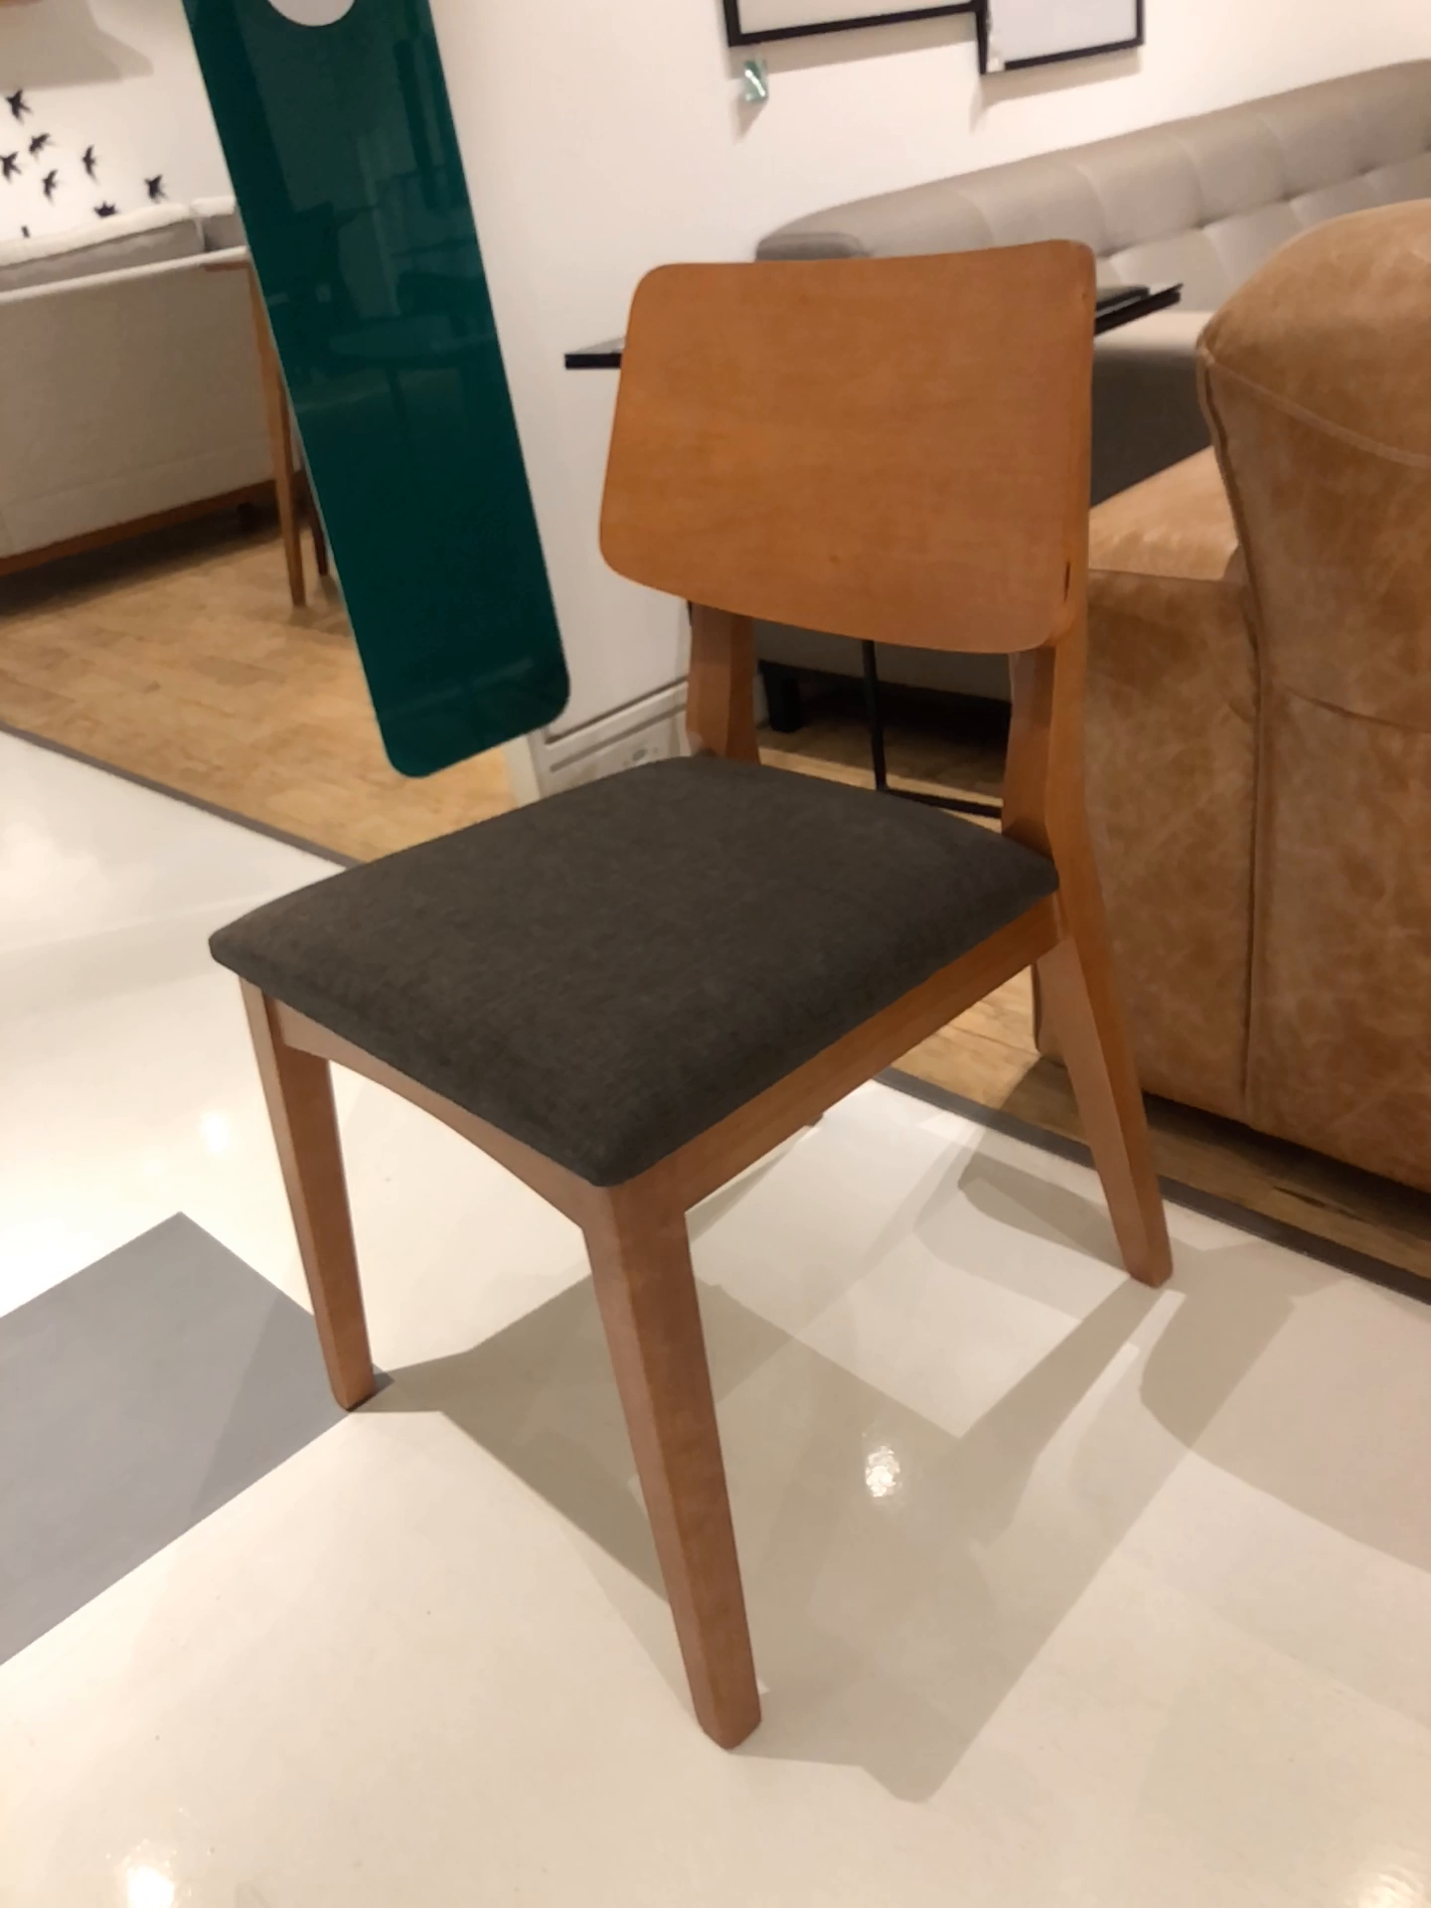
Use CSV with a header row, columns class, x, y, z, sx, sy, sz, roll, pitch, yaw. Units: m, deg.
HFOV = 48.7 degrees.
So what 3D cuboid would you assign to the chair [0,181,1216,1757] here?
class,x,y,z,sx,sy,sz,roll,pitch,yaw
chair,-0.023,-0.038,1.103,0.562,0.794,0.482,-30,34,-33
